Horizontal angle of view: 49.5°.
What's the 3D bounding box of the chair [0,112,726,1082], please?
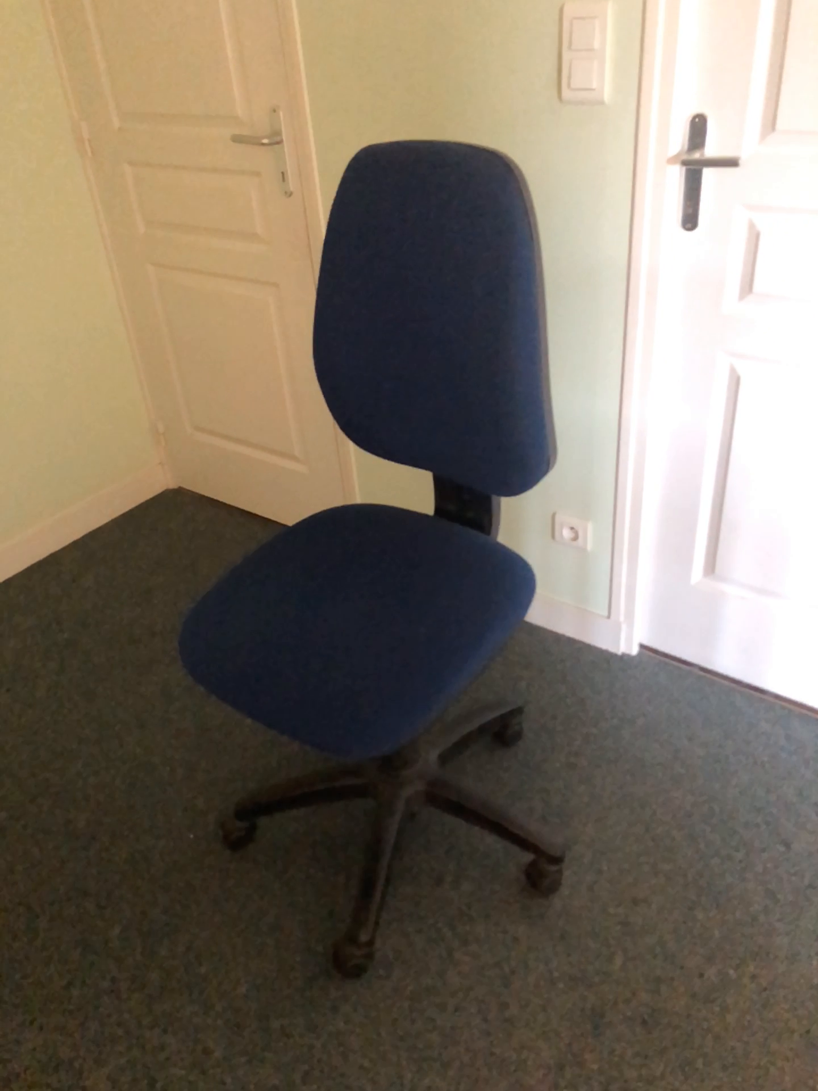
[{"bbox_3d":[-0.054,0.015,1.335,0.700,1.113,0.674,18,39,32],"label":"chair"}]
